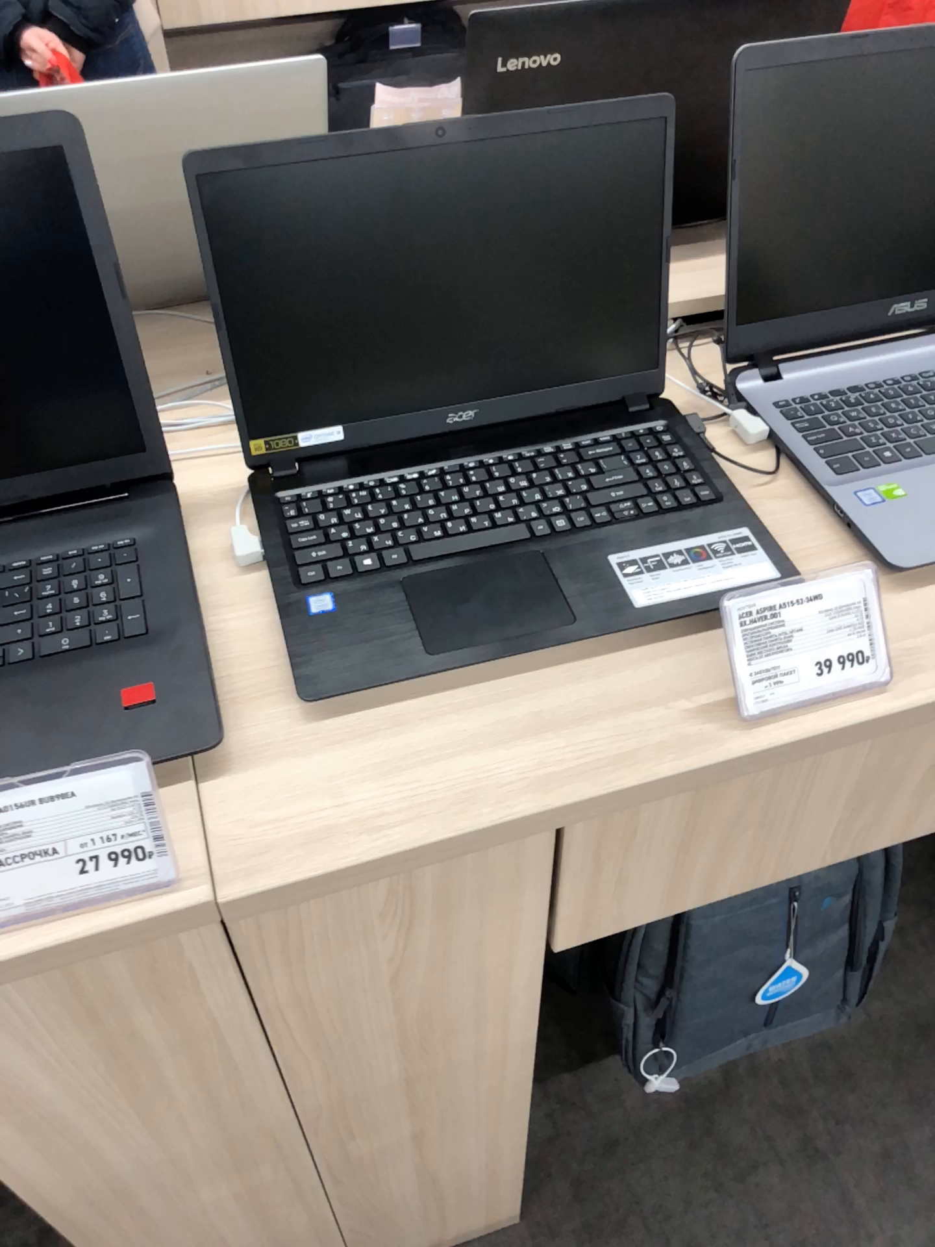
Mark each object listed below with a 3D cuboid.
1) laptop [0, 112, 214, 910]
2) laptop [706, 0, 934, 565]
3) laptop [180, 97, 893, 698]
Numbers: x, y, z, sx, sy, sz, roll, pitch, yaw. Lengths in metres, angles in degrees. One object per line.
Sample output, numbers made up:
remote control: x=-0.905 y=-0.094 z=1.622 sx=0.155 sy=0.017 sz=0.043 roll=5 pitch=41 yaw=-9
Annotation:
laptop: x=-0.384 y=-0.093 z=0.588 sx=0.353 sy=0.226 sz=0.346 roll=-14 pitch=49 yaw=-16
laptop: x=0.414 y=-0.272 z=0.767 sx=0.327 sy=0.219 sz=0.326 roll=-13 pitch=50 yaw=-10
laptop: x=0.020 y=-0.167 z=0.691 sx=0.346 sy=0.219 sz=0.292 roll=-13 pitch=47 yaw=-11
